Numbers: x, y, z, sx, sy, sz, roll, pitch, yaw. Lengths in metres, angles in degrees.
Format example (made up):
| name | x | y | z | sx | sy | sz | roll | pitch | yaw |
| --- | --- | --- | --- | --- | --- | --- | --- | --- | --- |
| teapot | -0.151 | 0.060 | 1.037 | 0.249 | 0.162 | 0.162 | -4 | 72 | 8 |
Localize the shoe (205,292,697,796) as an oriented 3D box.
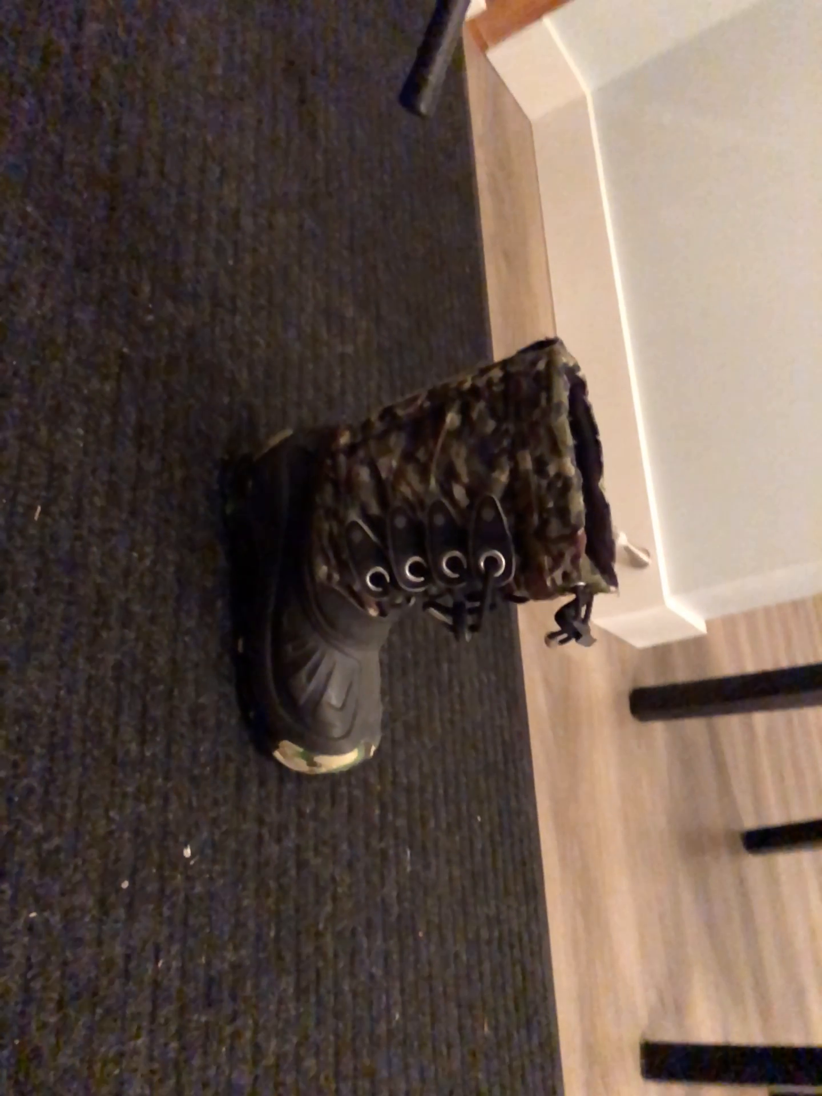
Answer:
| name | x | y | z | sx | sy | sz | roll | pitch | yaw |
| --- | --- | --- | --- | --- | --- | --- | --- | --- | --- |
| shoe | 0.013 | 0.011 | 0.489 | 0.101 | 0.209 | 0.200 | 12 | 65 | -58 |
